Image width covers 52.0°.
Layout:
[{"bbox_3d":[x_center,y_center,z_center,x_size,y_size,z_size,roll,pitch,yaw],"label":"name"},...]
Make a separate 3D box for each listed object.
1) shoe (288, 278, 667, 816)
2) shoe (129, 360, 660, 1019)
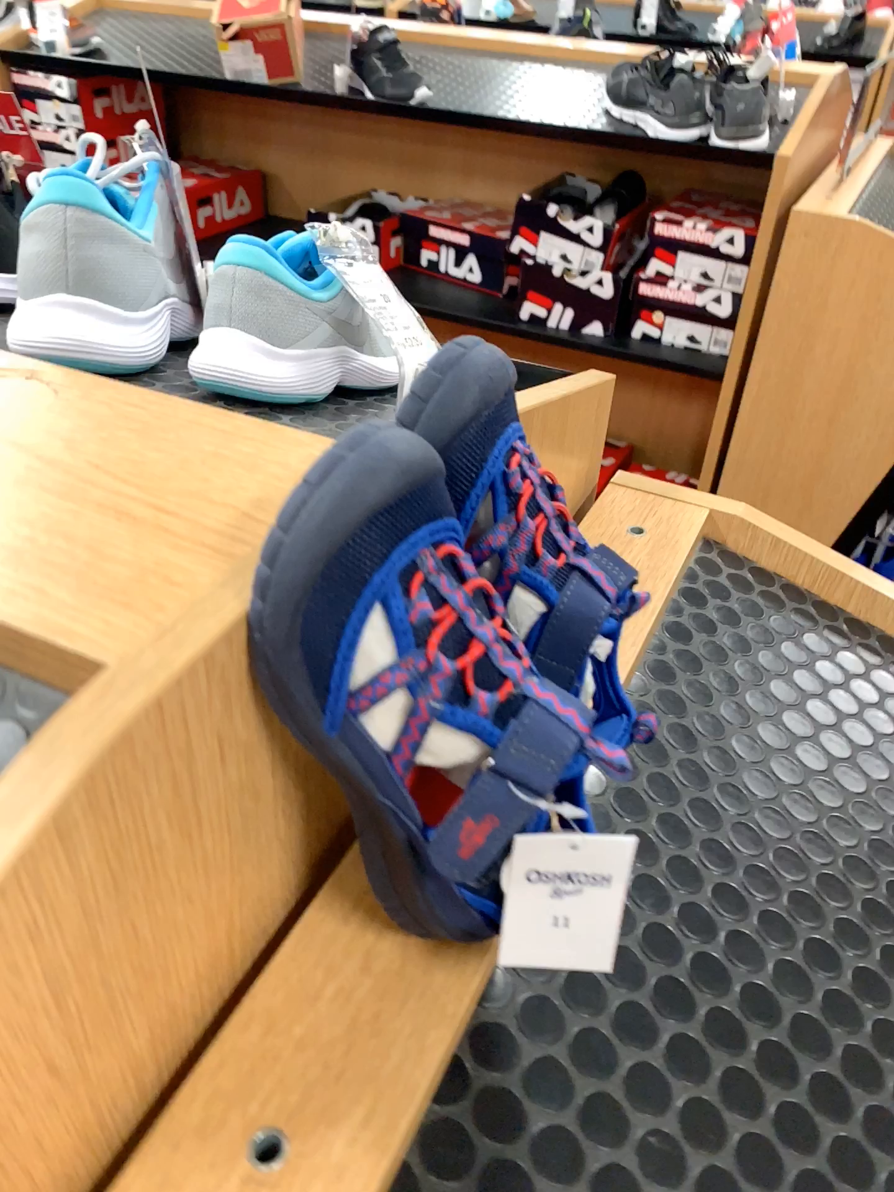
[{"bbox_3d":[0.023,-0.015,0.369,0.080,0.189,0.080,-2,30,30],"label":"shoe"},{"bbox_3d":[-0.005,0.033,0.307,0.100,0.189,0.080,0,30,32],"label":"shoe"}]
